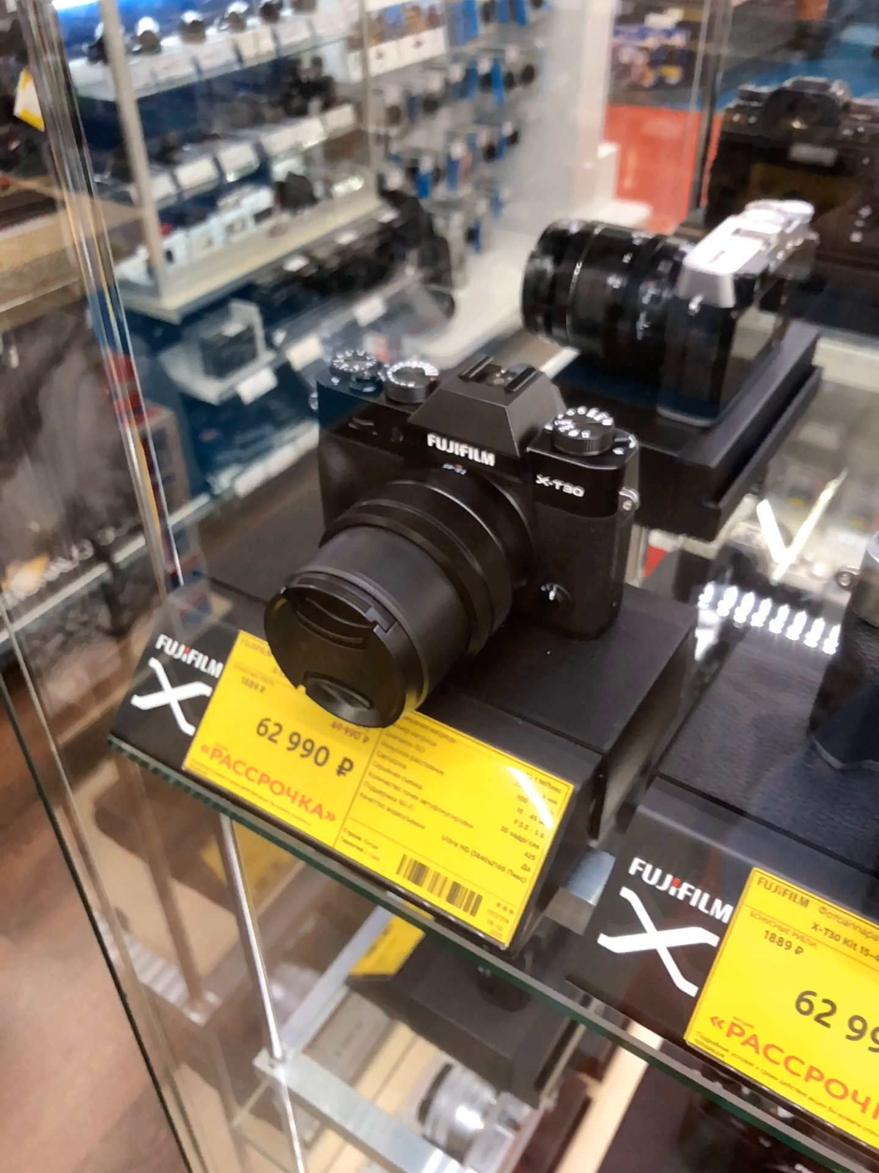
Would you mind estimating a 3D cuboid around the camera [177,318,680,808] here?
[{"bbox_3d":[0.000,-0.016,0.330,0.114,0.089,0.110,21,43,24],"label":"camera"}]

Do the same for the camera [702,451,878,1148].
[{"bbox_3d":[0.147,0.040,0.245,0.114,0.078,0.109,23,44,26],"label":"camera"}]

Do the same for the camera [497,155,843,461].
[{"bbox_3d":[0.110,-0.142,0.482,0.120,0.089,0.114,22,43,25],"label":"camera"}]
